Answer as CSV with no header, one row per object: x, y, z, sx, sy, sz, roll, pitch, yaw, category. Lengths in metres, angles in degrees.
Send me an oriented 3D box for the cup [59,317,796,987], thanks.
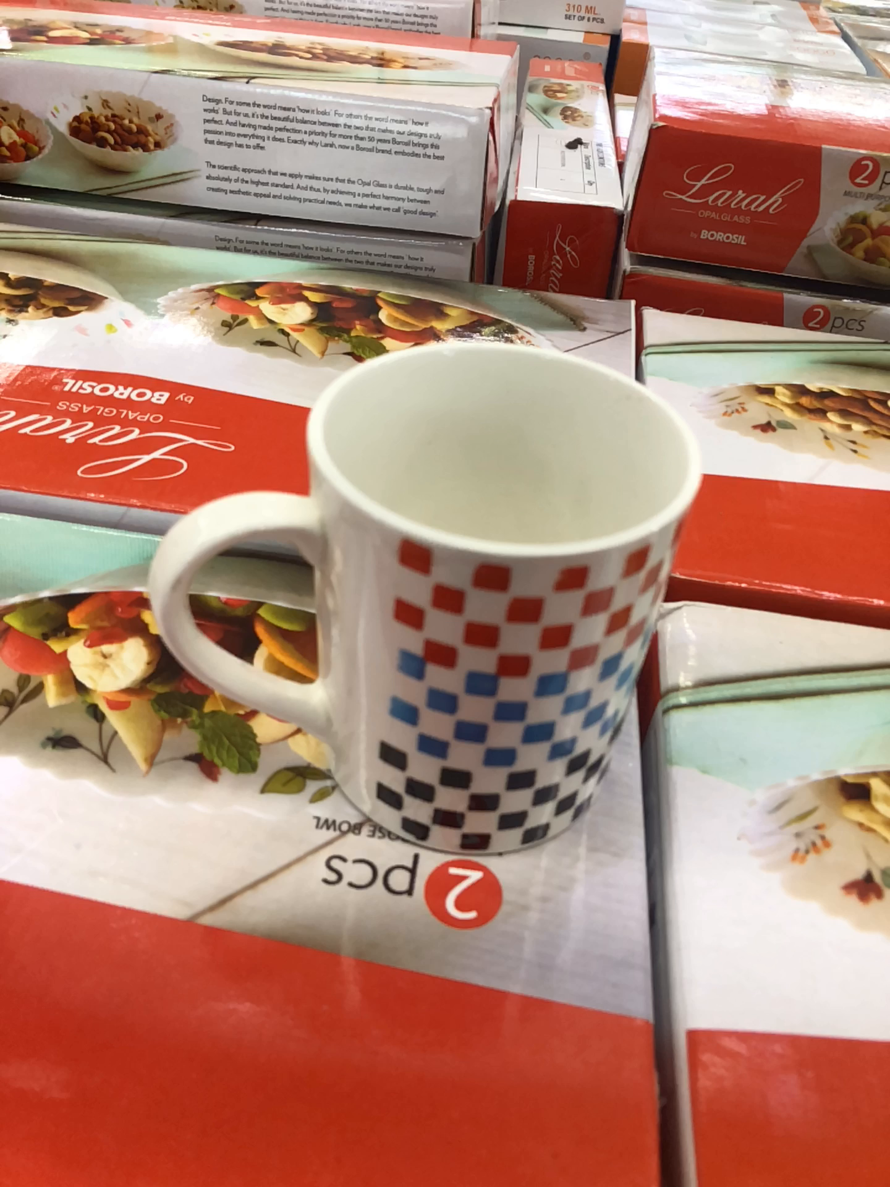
-0.010,0.005,0.222,0.120,0.089,0.090,-13,43,-22,cup
